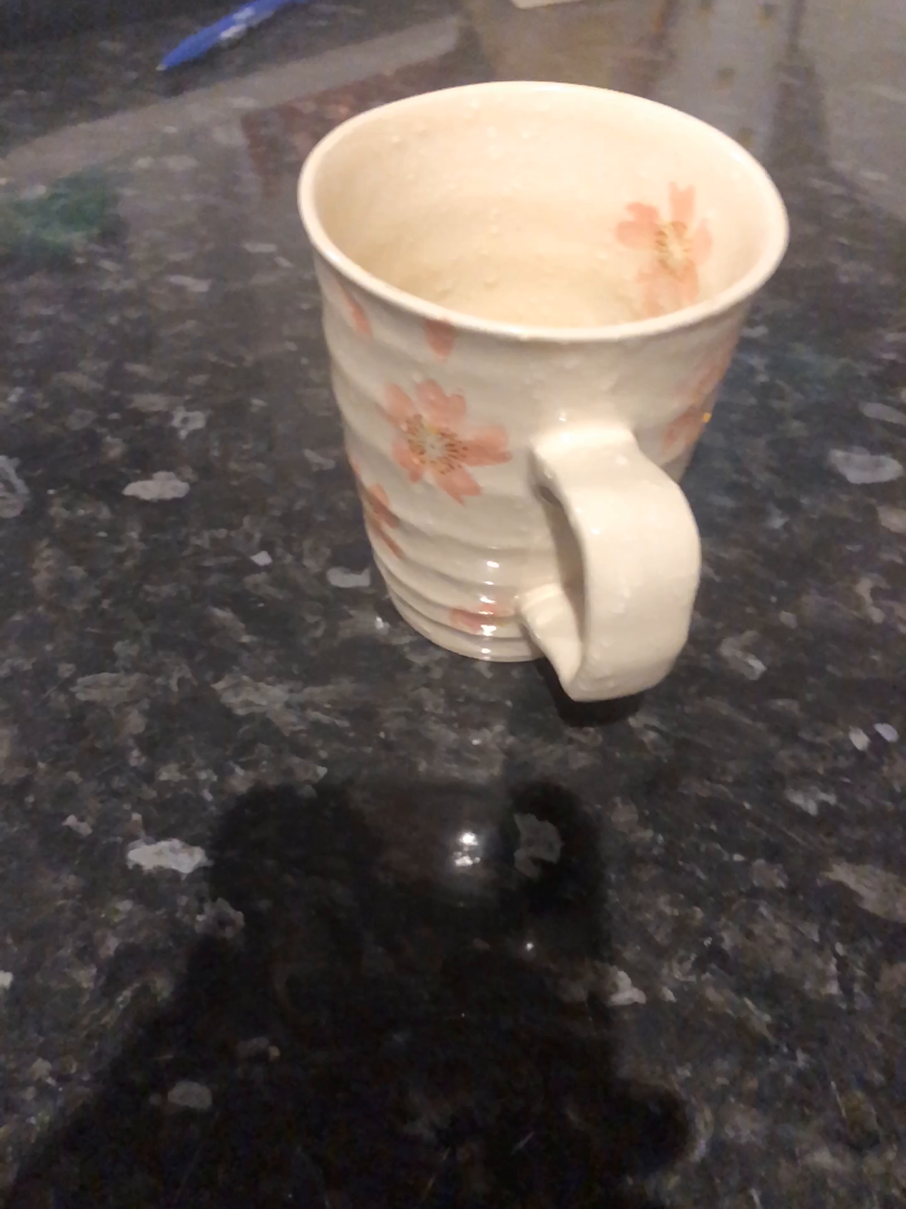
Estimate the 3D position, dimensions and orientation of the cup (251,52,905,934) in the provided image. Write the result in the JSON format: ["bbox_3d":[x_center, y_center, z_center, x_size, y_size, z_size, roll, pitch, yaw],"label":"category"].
[{"bbox_3d":[0.020,-0.027,0.200,0.090,0.099,0.131,-10,51,-11],"label":"cup"}]
